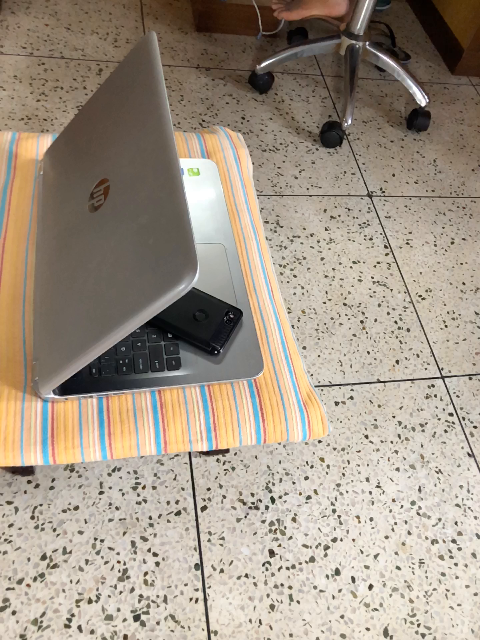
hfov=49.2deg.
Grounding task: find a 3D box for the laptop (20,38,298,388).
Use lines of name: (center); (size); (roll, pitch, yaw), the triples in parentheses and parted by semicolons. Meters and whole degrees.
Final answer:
laptop: (-0.109, -0.137, 0.625); (0.236, 0.184, 0.373); (-3, 57, -13)
